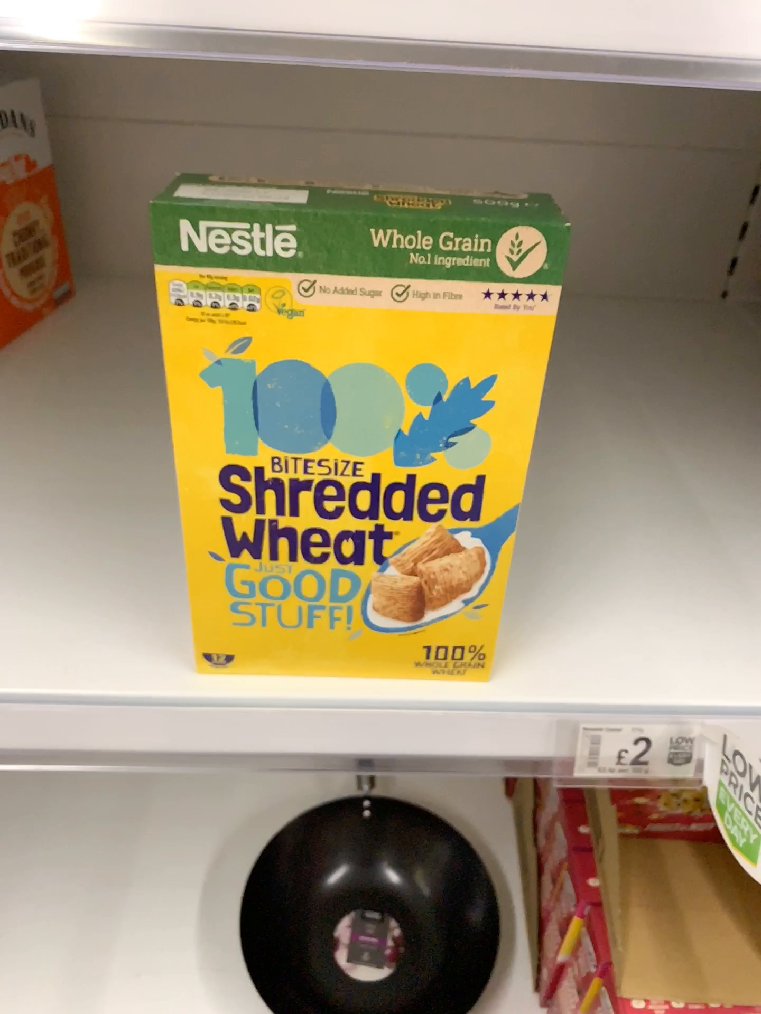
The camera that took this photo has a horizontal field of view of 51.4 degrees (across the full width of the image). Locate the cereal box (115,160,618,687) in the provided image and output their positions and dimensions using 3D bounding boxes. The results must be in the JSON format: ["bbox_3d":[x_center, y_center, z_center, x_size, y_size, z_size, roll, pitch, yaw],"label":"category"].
[{"bbox_3d":[-0.012,-0.030,0.435,0.210,0.277,0.071,2,33,-2],"label":"cereal box"}]
